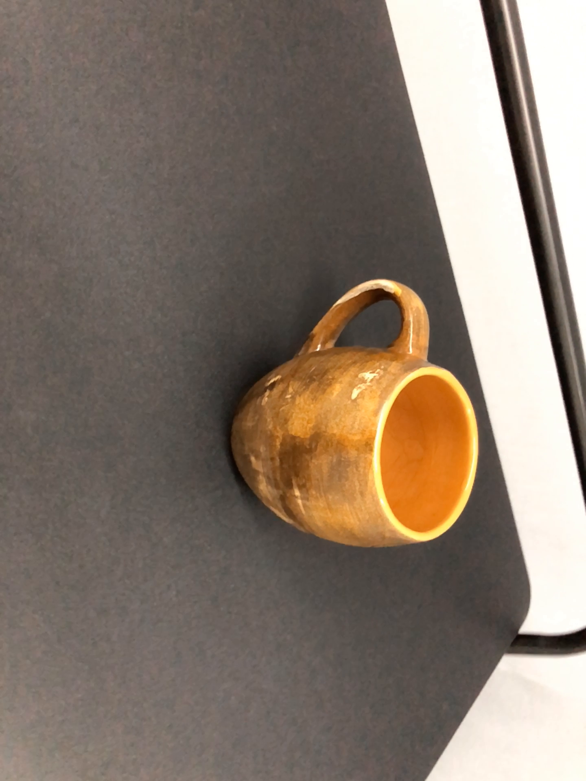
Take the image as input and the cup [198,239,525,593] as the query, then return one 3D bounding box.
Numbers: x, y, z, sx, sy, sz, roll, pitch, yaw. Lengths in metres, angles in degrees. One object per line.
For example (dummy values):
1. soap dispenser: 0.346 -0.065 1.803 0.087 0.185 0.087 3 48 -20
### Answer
1. cup: 0.037 0.014 0.316 0.092 0.092 0.131 29 72 -41
